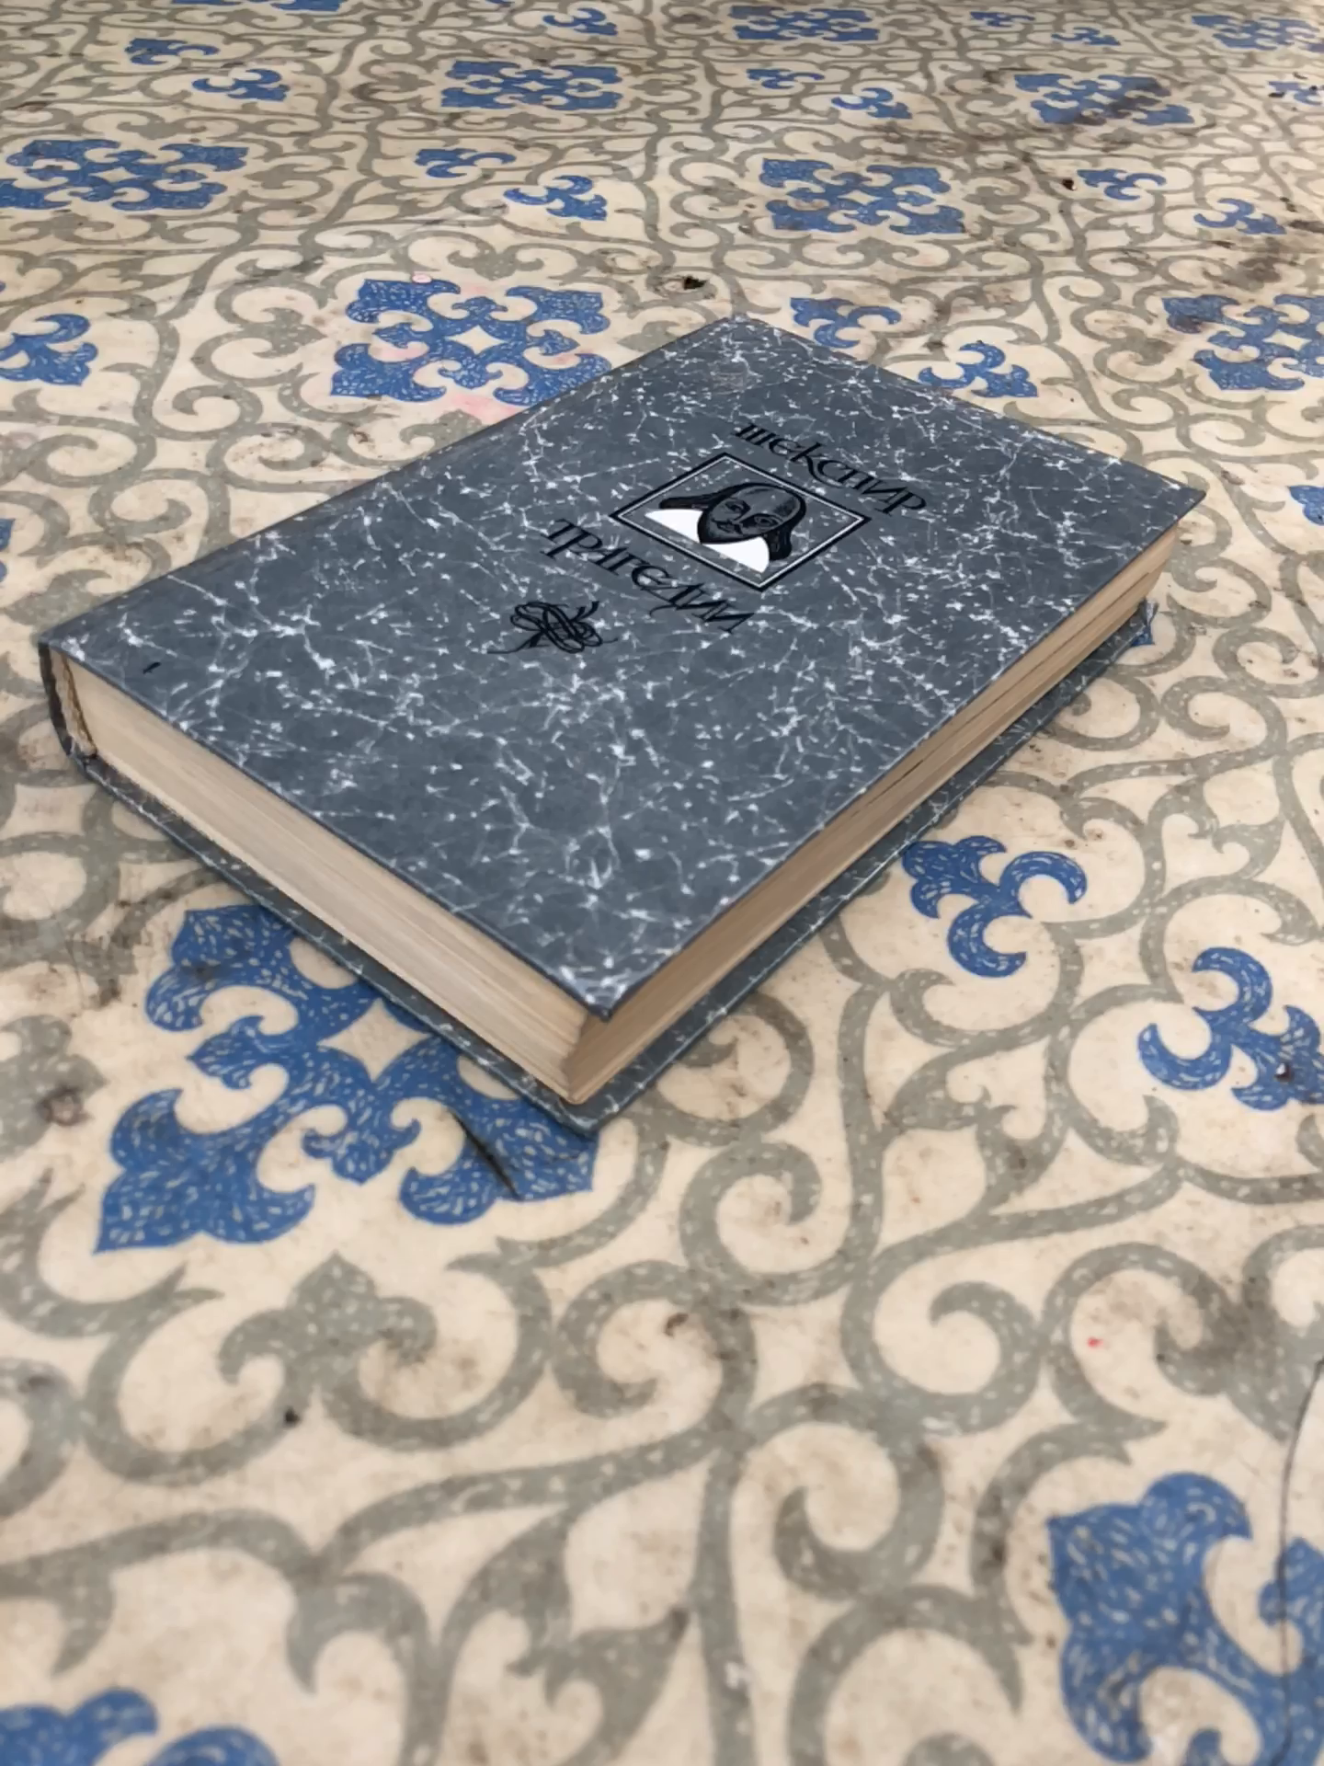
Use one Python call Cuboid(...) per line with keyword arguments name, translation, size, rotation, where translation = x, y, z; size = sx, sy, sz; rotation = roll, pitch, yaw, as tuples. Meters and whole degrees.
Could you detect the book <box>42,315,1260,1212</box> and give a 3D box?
Cuboid(name="book", translation=(0.010, -0.048, 0.294), size=(0.134, 0.033, 0.207), rotation=(31, 50, 25))
